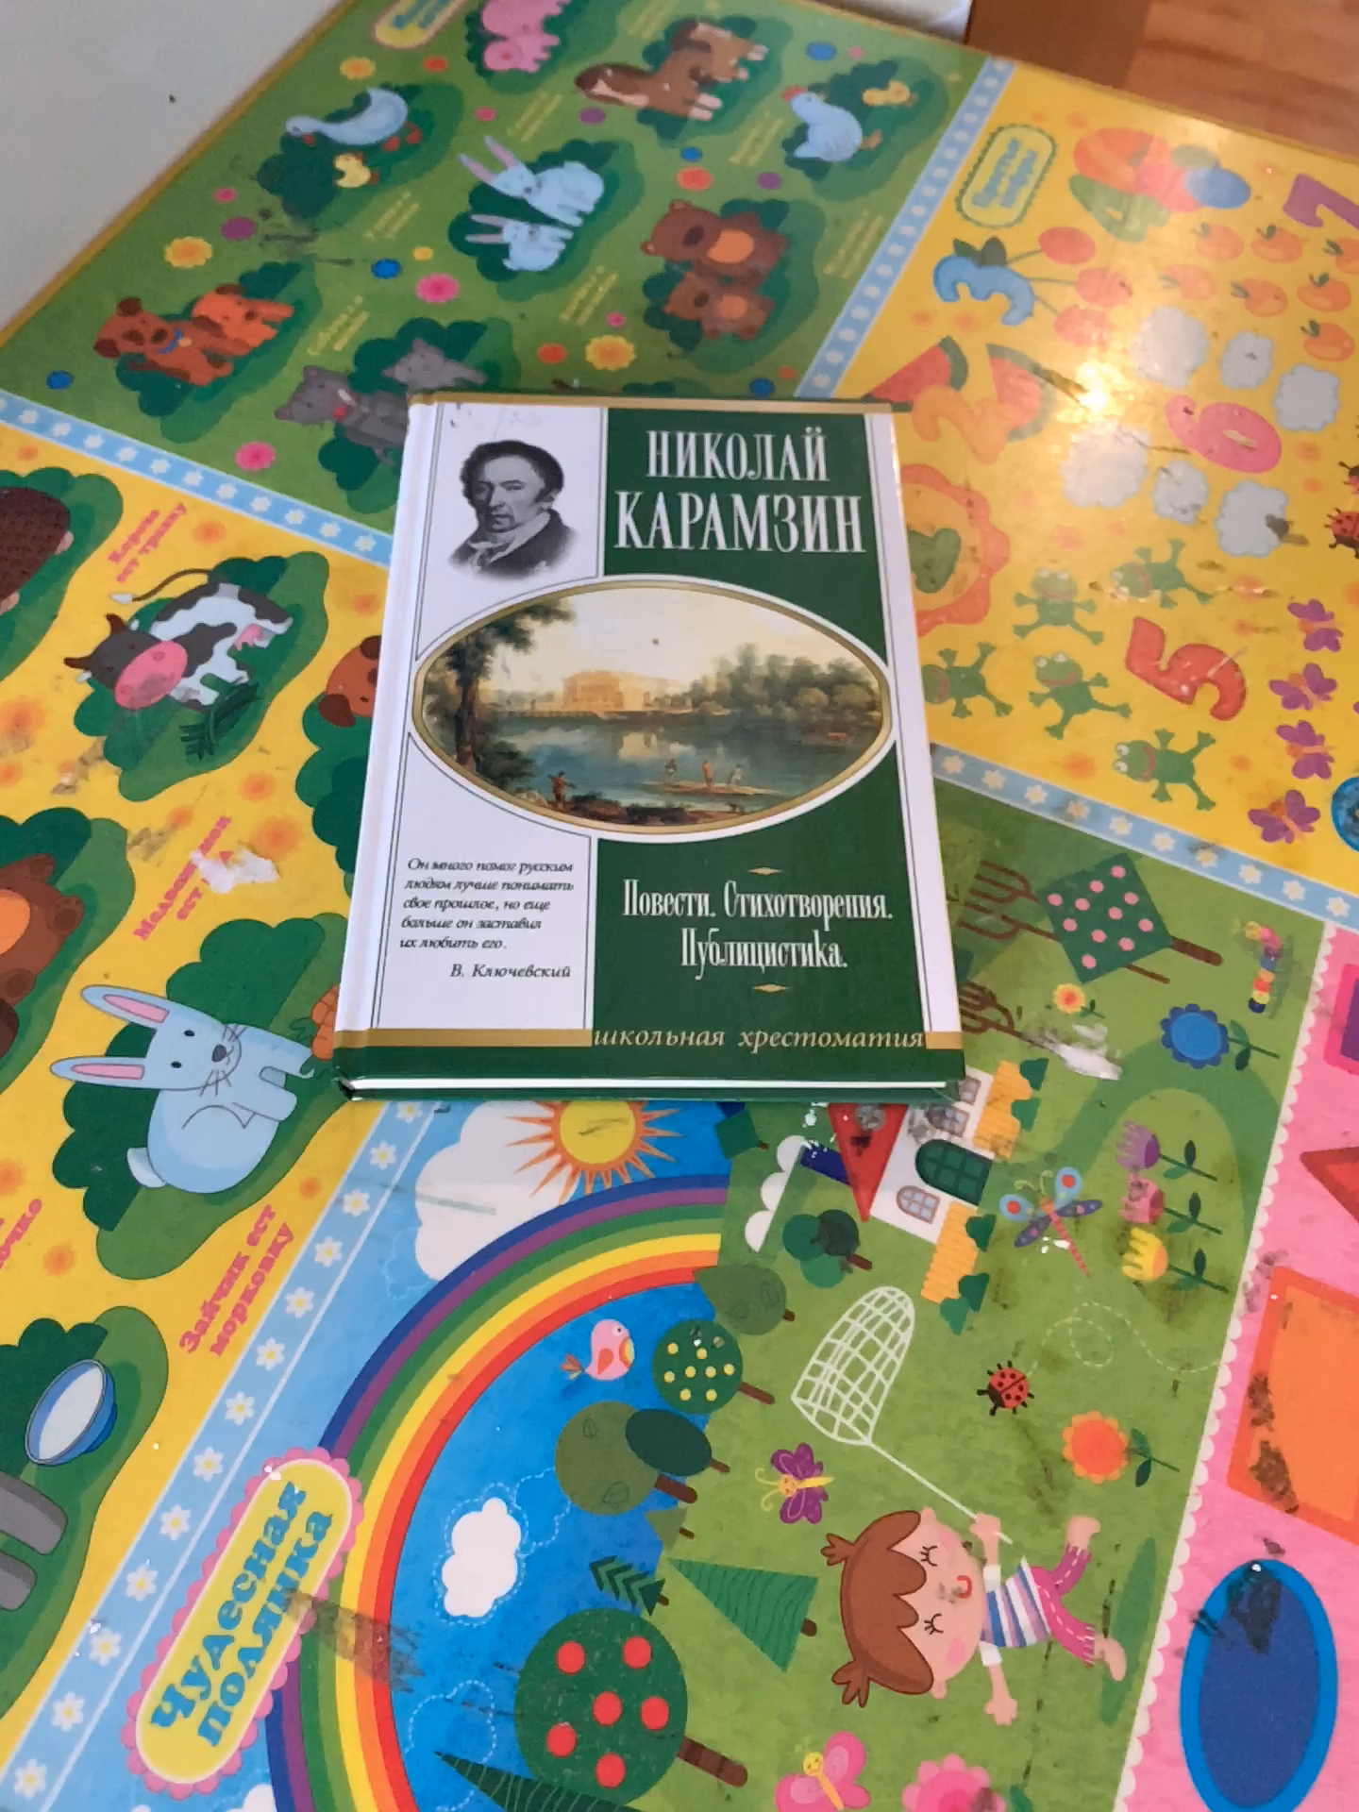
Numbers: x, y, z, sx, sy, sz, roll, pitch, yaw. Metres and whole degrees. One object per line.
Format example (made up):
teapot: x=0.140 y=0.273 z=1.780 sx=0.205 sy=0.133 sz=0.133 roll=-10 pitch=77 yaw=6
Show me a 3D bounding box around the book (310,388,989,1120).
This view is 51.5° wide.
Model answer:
book: x=-0.006 y=-0.046 z=0.339 sx=0.136 sy=0.020 sz=0.198 roll=1 pitch=61 yaw=-1
